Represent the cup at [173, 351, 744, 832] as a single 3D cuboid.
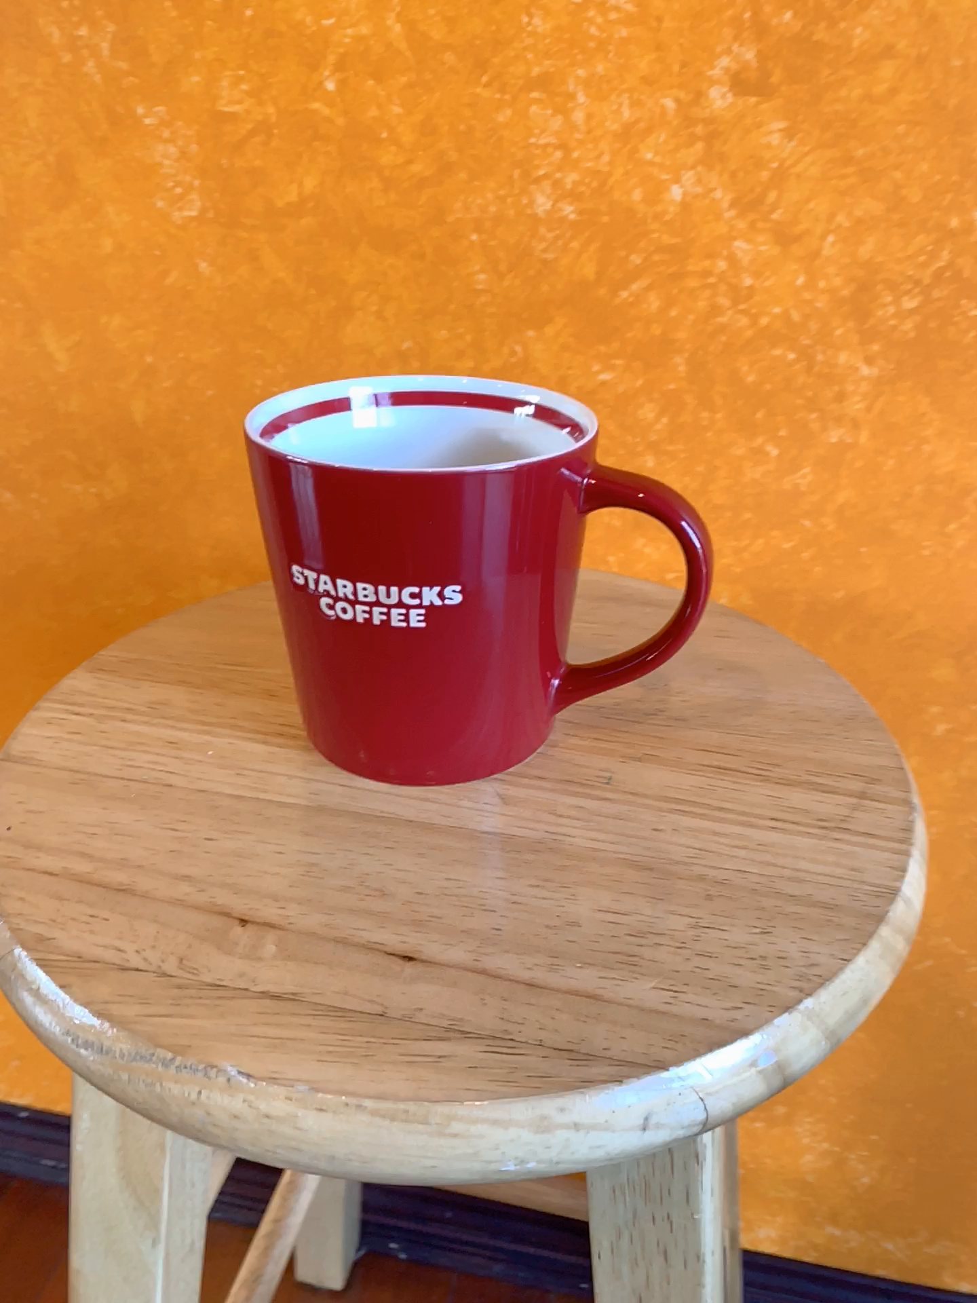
[{"bbox_3d":[-0.002,-0.027,0.312,0.140,0.099,0.101,8,29,13],"label":"cup"}]
